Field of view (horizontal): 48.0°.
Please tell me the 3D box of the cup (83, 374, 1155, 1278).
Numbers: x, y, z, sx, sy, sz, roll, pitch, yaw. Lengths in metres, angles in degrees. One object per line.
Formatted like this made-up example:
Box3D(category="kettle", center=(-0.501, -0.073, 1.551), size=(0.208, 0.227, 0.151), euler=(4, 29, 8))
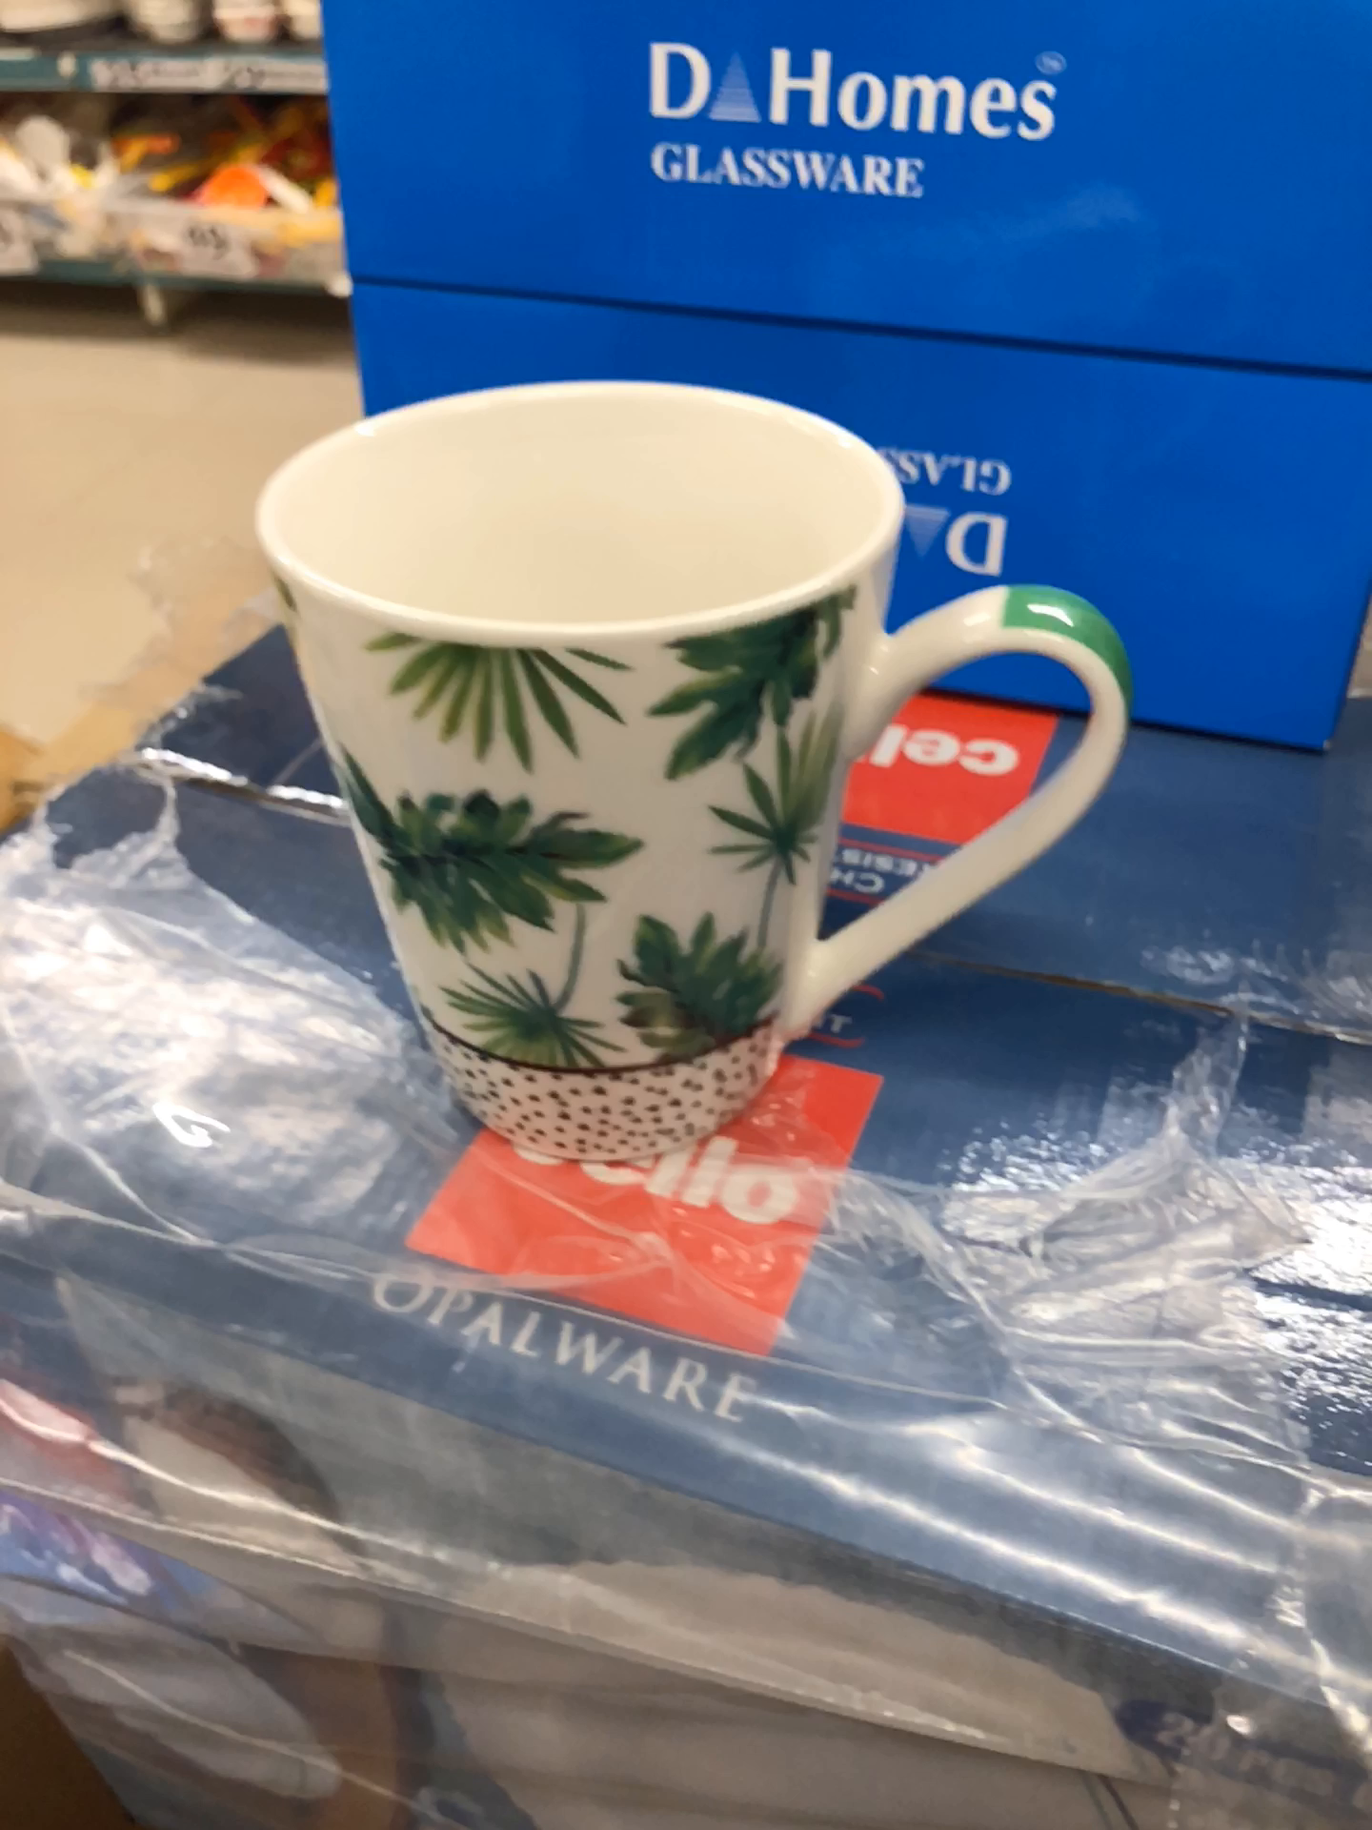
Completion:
Box3D(category="cup", center=(-0.001, -0.016, 0.230), size=(0.120, 0.099, 0.081), euler=(4, 40, 9))
